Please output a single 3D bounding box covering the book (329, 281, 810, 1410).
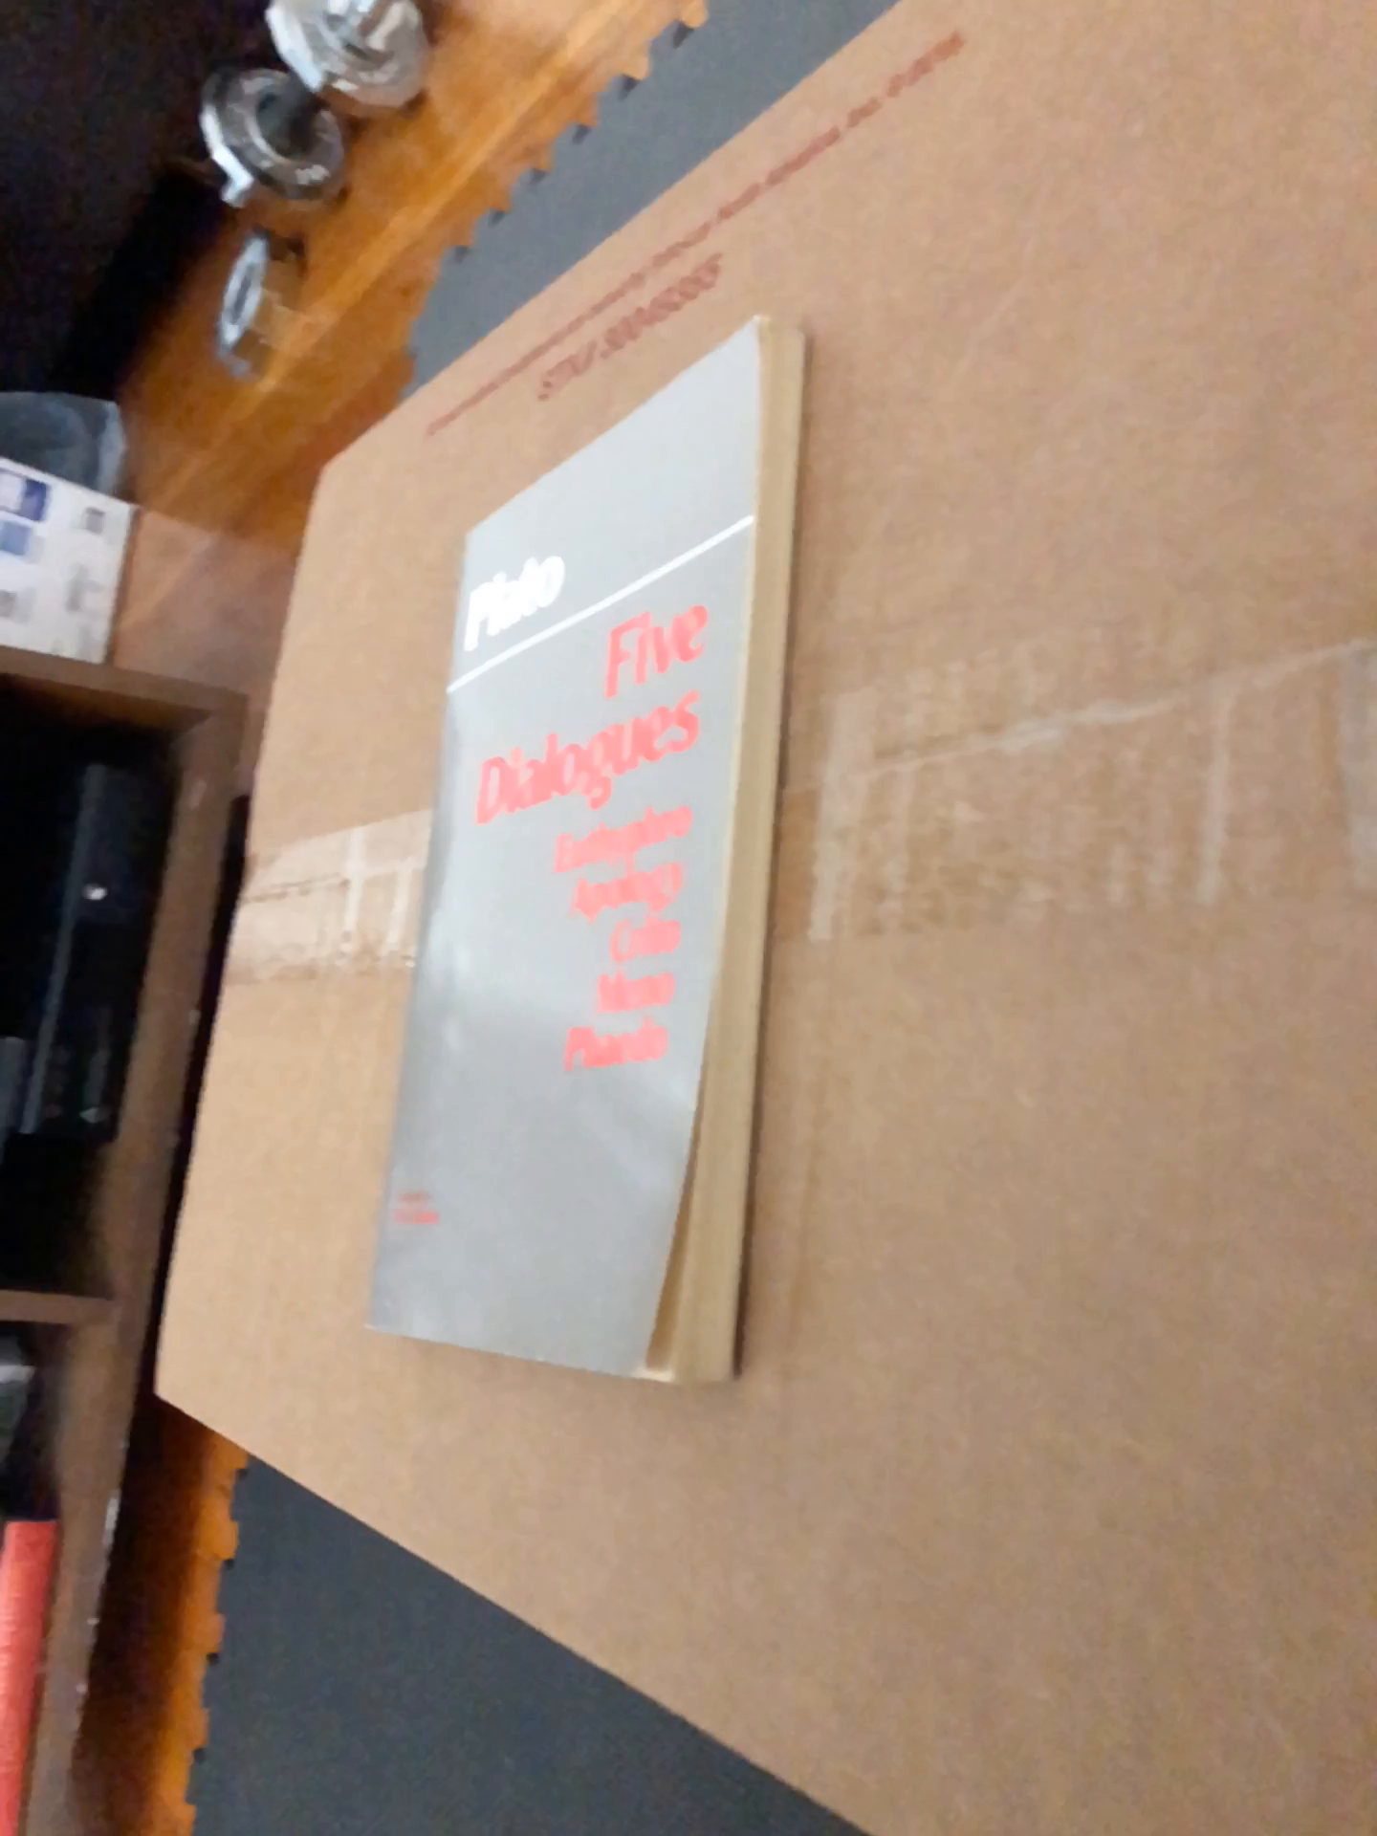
[{"bbox_3d":[-0.031,-0.011,0.345,0.141,0.020,0.220,-15,66,53],"label":"book"}]
